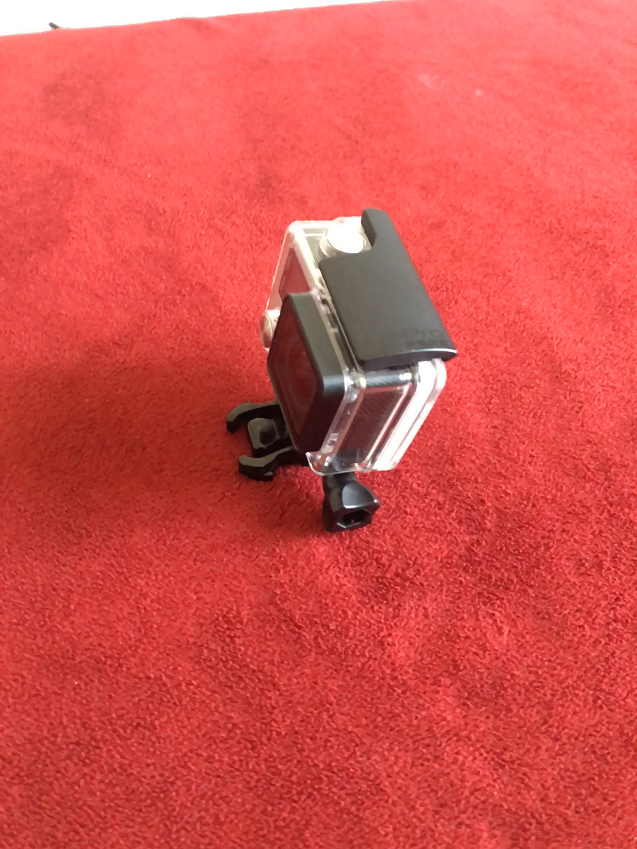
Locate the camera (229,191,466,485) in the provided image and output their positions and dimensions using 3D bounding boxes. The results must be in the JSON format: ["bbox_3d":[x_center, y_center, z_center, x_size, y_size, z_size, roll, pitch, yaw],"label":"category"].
[{"bbox_3d":[0.004,-0.028,0.217,0.040,0.050,0.073,-7,53,-21],"label":"camera"}]
